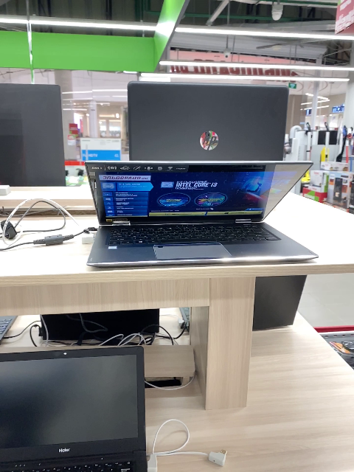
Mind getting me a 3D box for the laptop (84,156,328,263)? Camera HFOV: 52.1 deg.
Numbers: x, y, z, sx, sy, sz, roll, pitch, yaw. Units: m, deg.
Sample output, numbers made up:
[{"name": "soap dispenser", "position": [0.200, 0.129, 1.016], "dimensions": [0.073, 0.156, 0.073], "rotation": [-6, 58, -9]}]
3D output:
[{"name": "laptop", "position": [0.029, -0.058, 0.584], "dimensions": [0.320, 0.128, 0.218], "rotation": [-1, 15, -7]}]
